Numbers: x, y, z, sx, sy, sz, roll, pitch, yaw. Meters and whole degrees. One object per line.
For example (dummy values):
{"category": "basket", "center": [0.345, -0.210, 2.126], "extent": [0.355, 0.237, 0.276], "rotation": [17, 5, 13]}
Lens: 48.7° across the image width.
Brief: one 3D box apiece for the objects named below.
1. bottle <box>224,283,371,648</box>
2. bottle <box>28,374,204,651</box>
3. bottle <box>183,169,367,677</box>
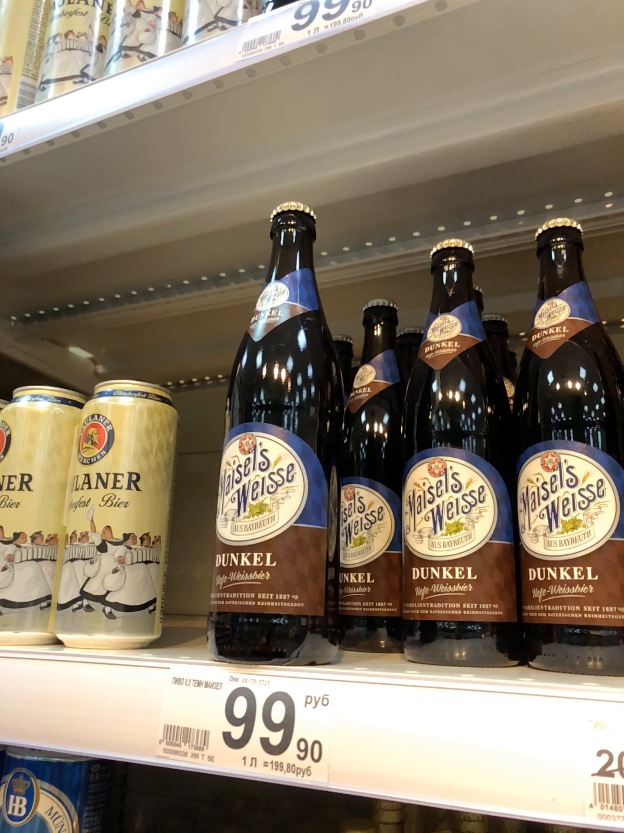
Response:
{"category": "bottle", "center": [-0.007, 0.039, 0.540], "extent": [0.070, 0.263, 0.082], "rotation": [-11, -20, 37]}
{"category": "bottle", "center": [-0.126, 0.065, 0.462], "extent": [0.069, 0.168, 0.067], "rotation": [2, -16, 0]}
{"category": "bottle", "center": [-0.016, 0.002, 0.390], "extent": [0.065, 0.264, 0.066], "rotation": [2, -16, 0]}
